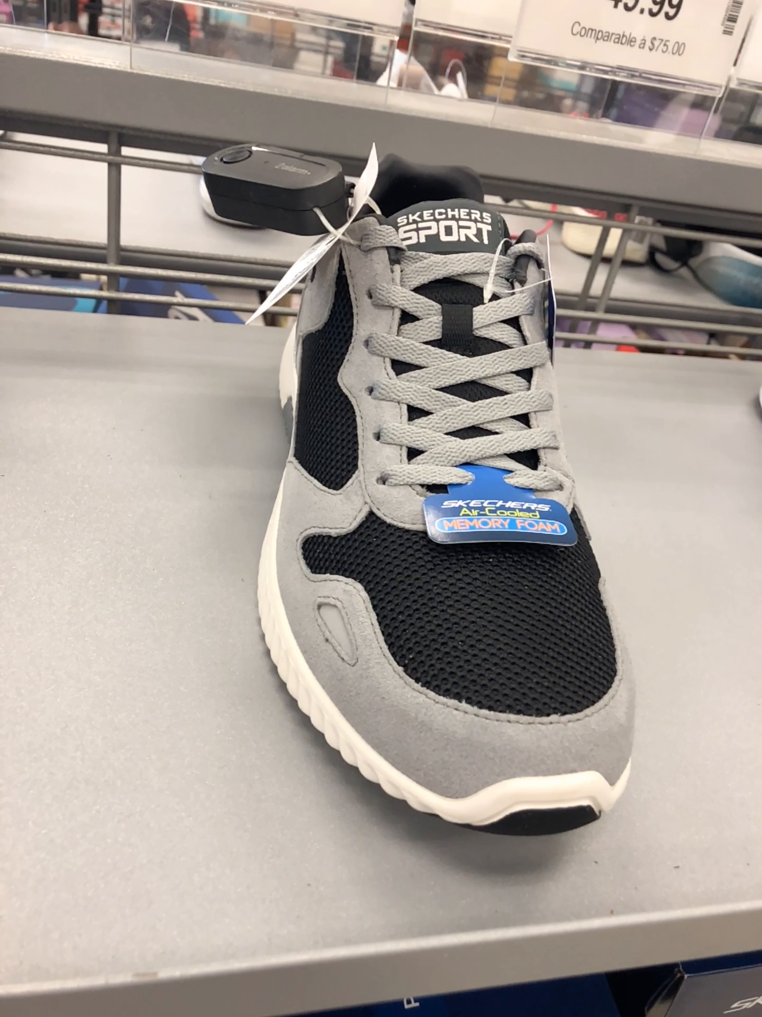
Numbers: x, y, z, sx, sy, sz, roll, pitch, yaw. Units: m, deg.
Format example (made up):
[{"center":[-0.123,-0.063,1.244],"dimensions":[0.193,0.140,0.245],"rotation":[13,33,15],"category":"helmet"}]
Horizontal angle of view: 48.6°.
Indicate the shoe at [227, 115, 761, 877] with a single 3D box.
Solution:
[{"center":[0.013,-0.039,0.314],"dimensions":[0.120,0.119,0.302],"rotation":[5,35,-12],"category":"shoe"}]
